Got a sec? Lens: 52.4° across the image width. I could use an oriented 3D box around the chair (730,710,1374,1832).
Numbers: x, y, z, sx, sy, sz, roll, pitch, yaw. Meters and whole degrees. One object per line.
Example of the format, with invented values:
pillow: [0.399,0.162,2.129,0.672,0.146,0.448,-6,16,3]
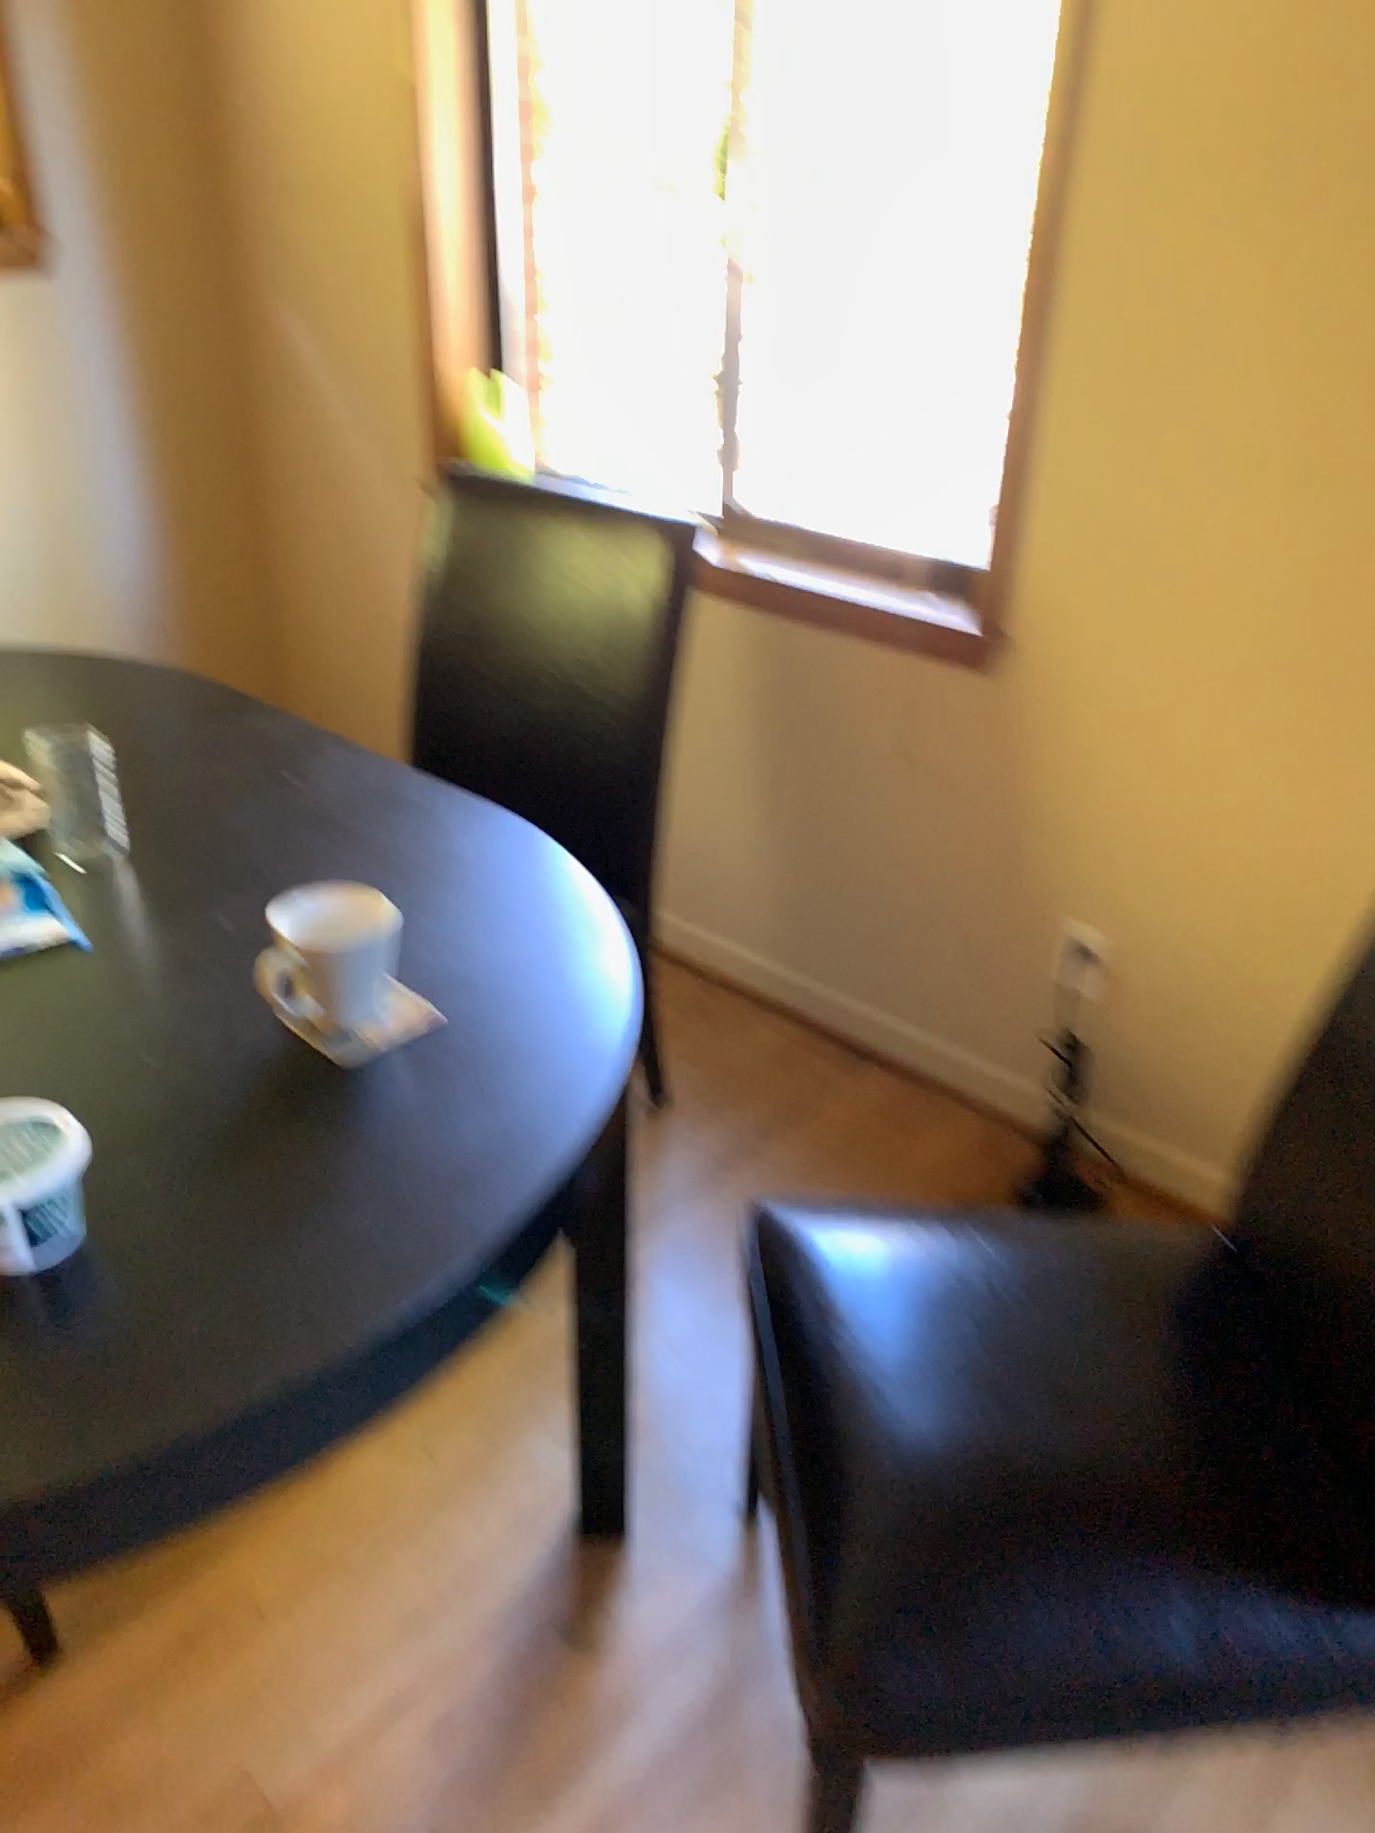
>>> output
chair: [0.415,0.447,1.236,0.650,1.084,0.623,-1,30,-5]
